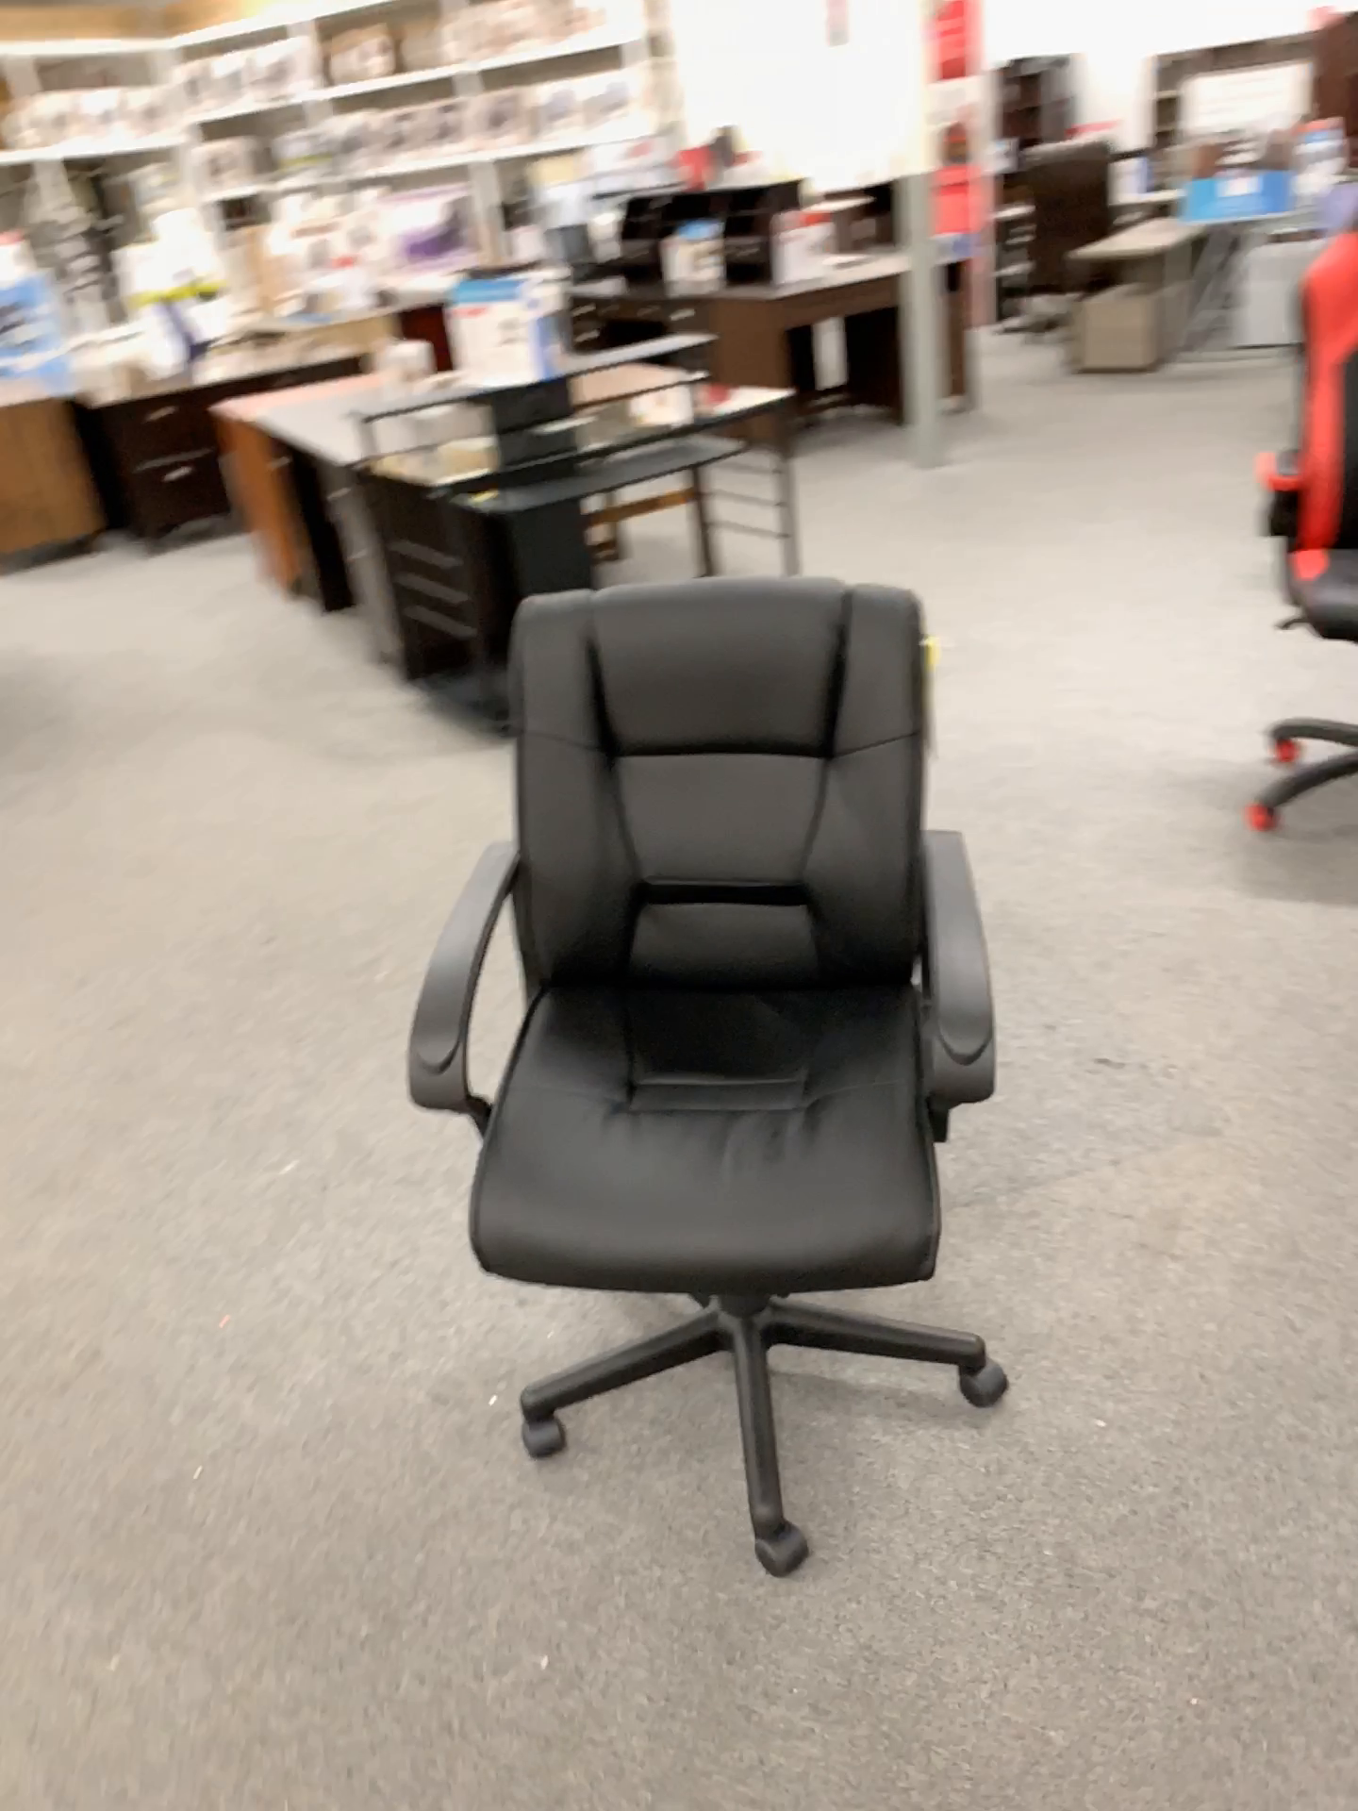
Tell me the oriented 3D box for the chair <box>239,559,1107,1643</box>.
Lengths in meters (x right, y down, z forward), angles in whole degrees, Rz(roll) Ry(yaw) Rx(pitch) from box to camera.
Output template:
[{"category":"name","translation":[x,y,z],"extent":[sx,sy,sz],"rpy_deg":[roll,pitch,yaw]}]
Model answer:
[{"category":"chair","translation":[0.062,0.187,1.610],"extent":[0.680,0.965,0.704],"rpy_deg":[1,29,9]}]
